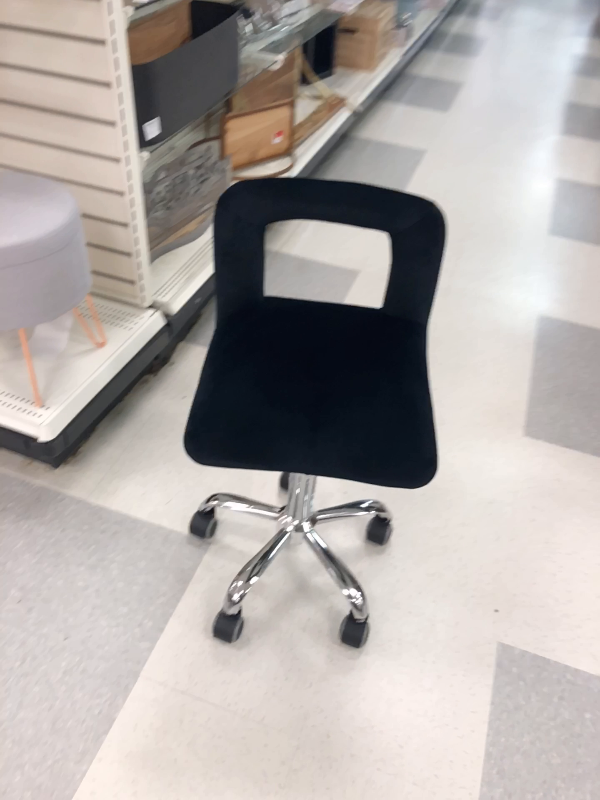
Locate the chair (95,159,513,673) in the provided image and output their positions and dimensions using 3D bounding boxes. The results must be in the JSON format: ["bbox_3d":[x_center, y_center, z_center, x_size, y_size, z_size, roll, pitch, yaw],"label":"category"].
[{"bbox_3d":[0.000,0.045,1.133,0.461,0.693,0.488,6,42,1],"label":"chair"}]
